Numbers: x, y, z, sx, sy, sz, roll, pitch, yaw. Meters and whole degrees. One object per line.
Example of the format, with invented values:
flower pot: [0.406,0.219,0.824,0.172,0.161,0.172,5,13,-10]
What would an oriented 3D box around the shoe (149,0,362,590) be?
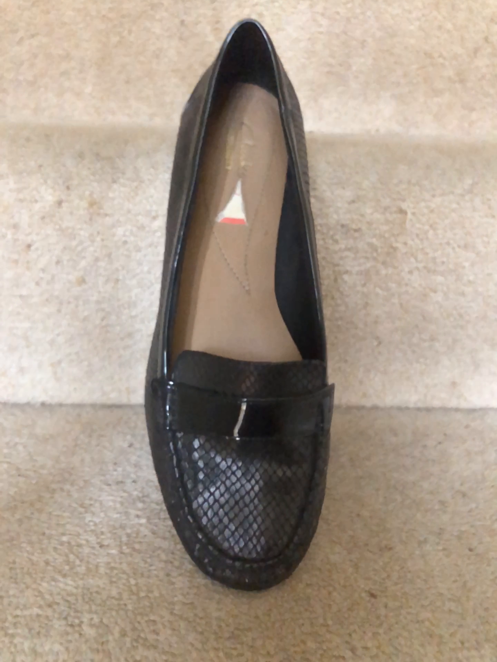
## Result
shoe: [0.002,-0.019,0.283,0.090,0.260,0.070,2,-7,-9]
